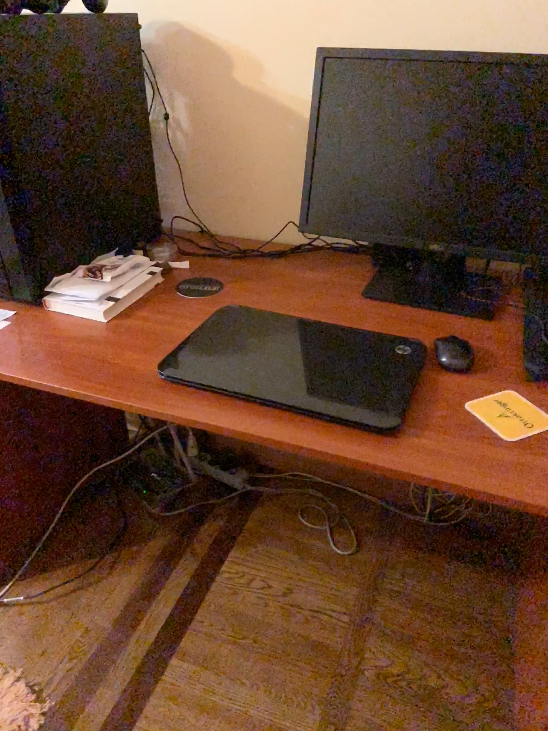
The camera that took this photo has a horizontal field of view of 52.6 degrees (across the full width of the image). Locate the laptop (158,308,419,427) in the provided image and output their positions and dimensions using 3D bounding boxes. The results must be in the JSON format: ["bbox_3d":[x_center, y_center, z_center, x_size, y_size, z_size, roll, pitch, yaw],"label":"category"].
[{"bbox_3d":[0.031,-0.014,0.928,0.382,0.001,0.243,12,35,20],"label":"laptop"}]
